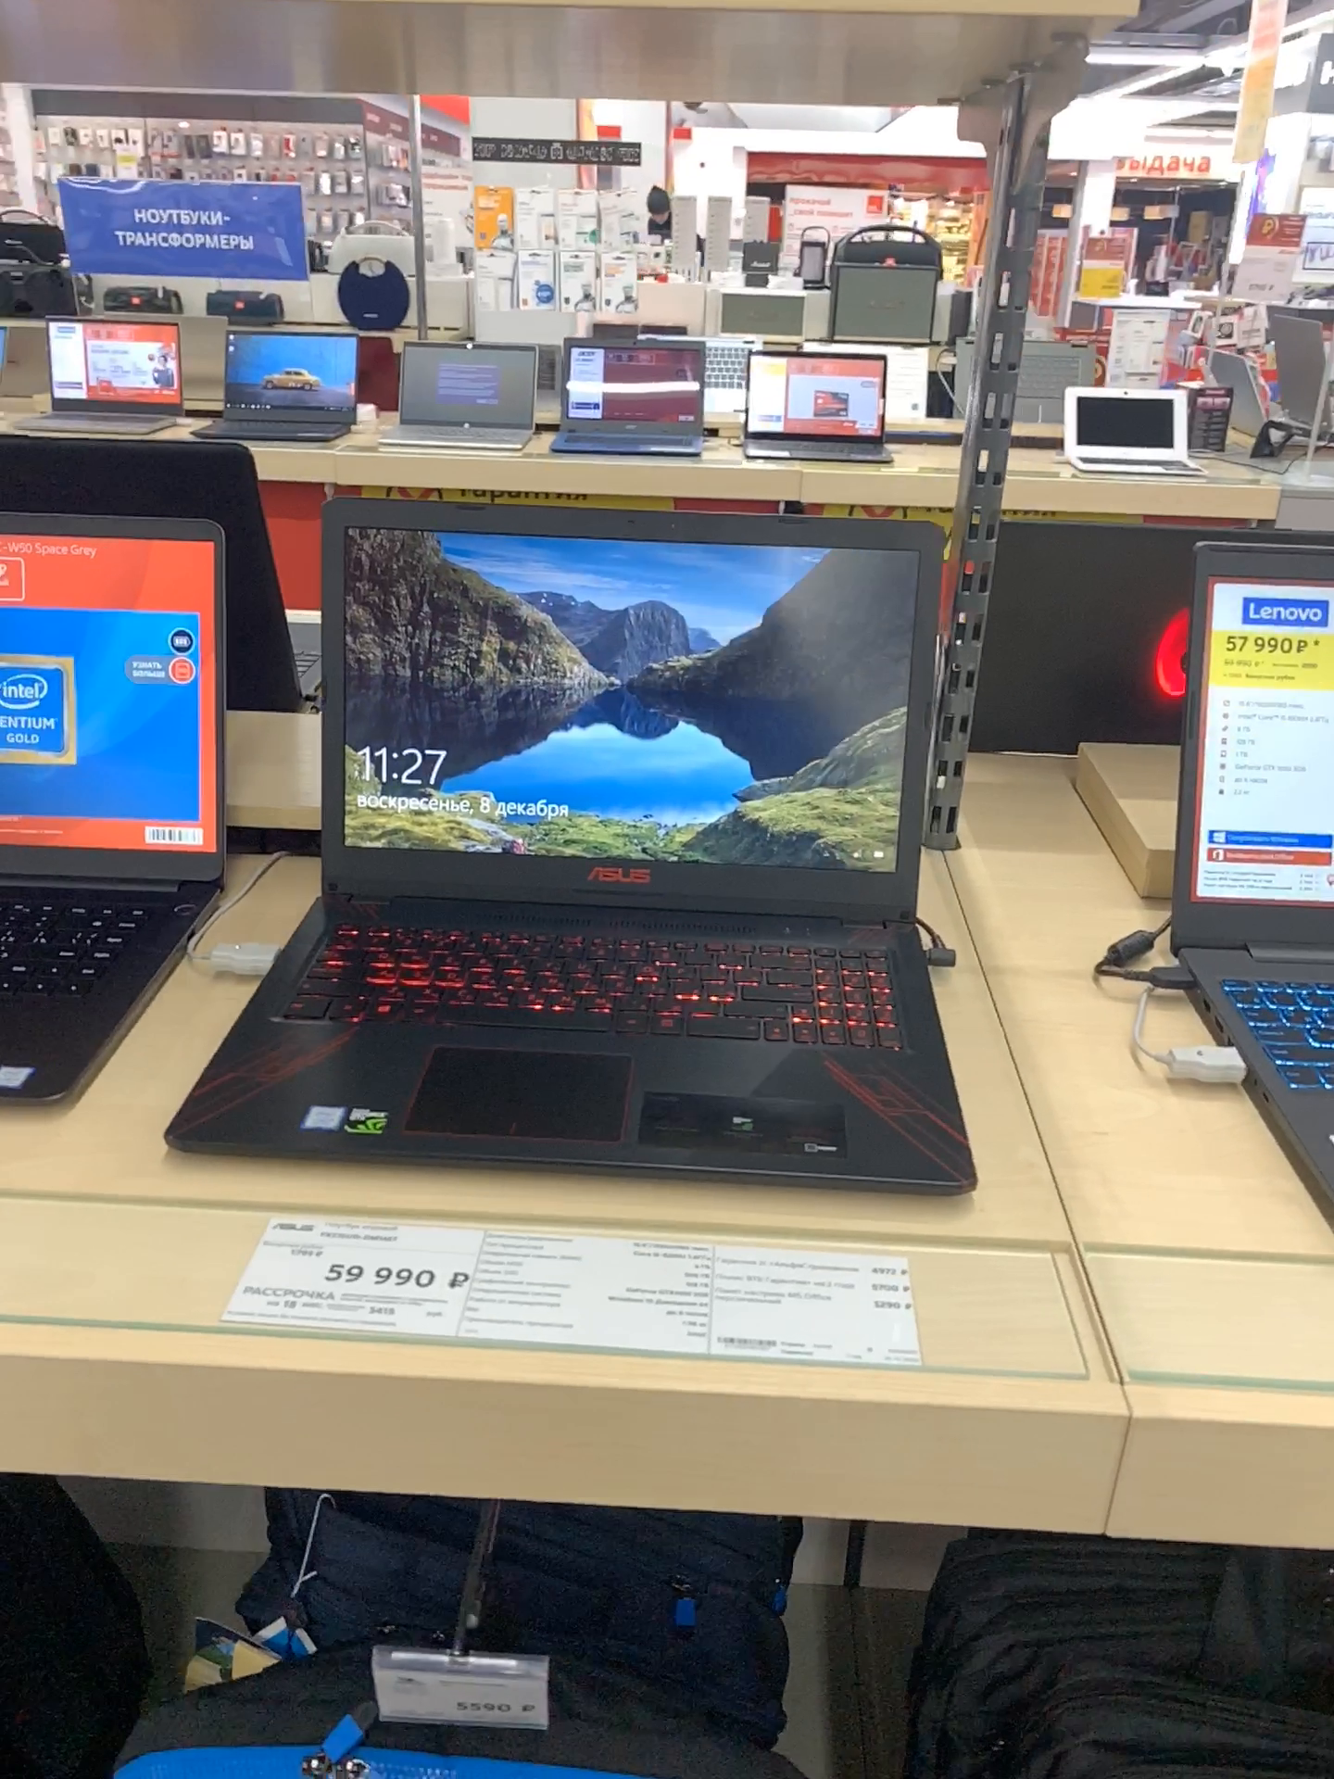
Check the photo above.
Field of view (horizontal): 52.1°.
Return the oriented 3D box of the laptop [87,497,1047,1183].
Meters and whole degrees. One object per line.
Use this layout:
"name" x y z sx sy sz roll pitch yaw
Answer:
"laptop" -0.035 -0.052 0.708 0.365 0.229 0.319 3 25 2
